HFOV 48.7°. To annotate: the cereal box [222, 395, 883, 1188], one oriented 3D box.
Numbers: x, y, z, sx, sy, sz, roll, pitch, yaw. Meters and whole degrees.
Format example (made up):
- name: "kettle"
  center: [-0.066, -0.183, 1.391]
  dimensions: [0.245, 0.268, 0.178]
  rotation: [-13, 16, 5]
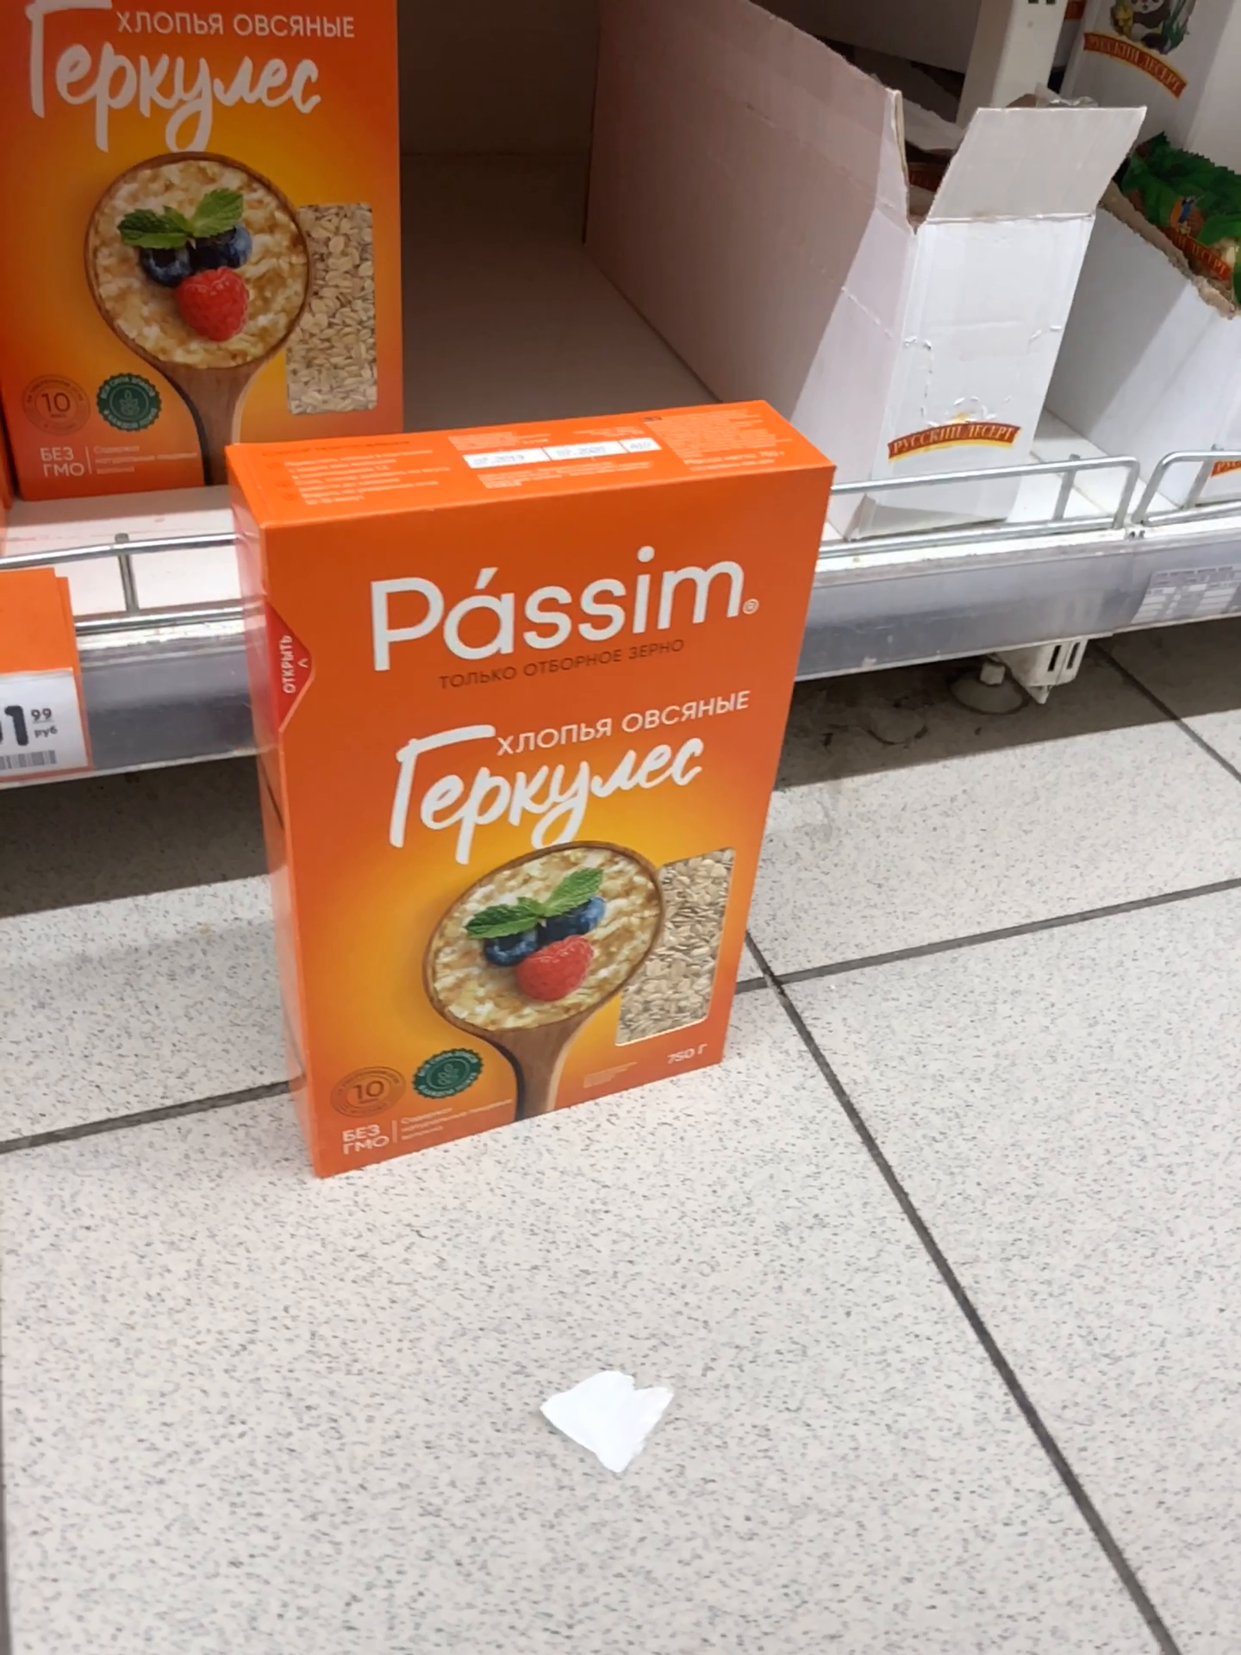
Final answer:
- name: "cereal box"
  center: [-0.025, -0.003, 0.445]
  dimensions: [0.170, 0.249, 0.050]
  rotation: [-12, 42, -21]
